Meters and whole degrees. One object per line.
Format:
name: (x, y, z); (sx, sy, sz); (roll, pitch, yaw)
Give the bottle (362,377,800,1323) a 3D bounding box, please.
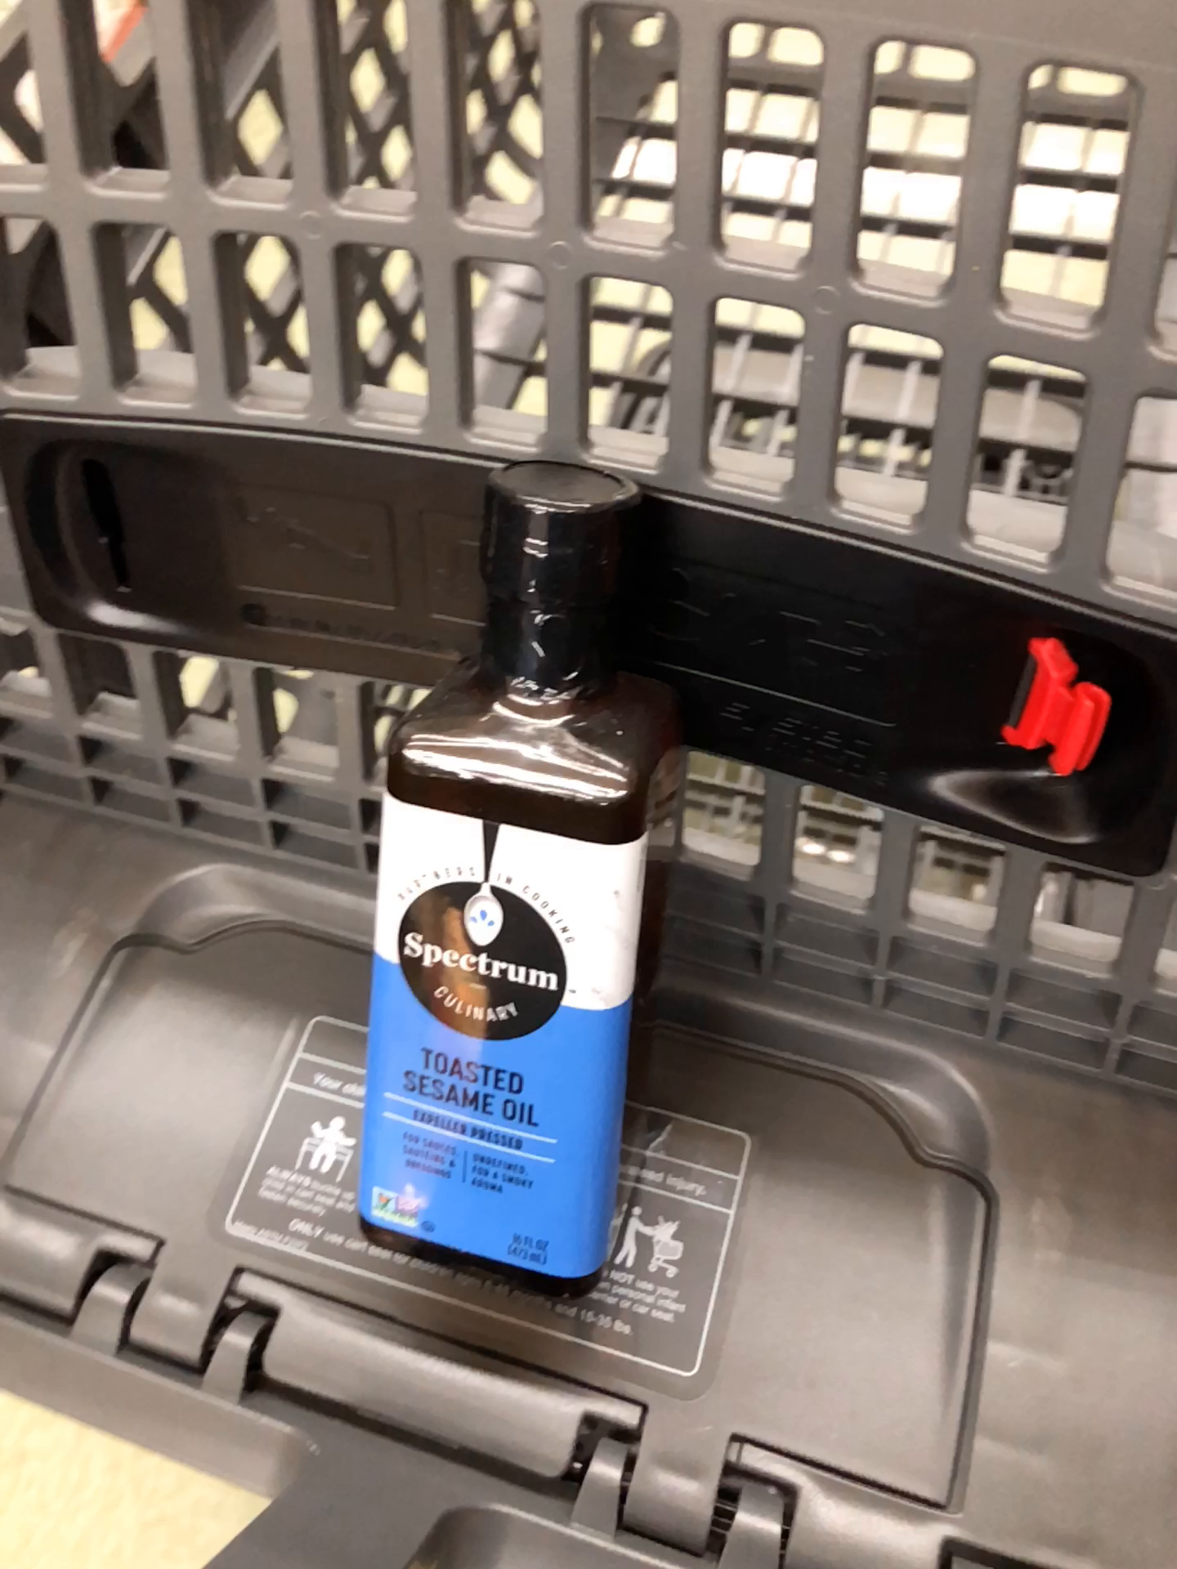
bottle: (-0.006, 0.020, 0.296); (0.070, 0.200, 0.060); (12, 28, 12)
